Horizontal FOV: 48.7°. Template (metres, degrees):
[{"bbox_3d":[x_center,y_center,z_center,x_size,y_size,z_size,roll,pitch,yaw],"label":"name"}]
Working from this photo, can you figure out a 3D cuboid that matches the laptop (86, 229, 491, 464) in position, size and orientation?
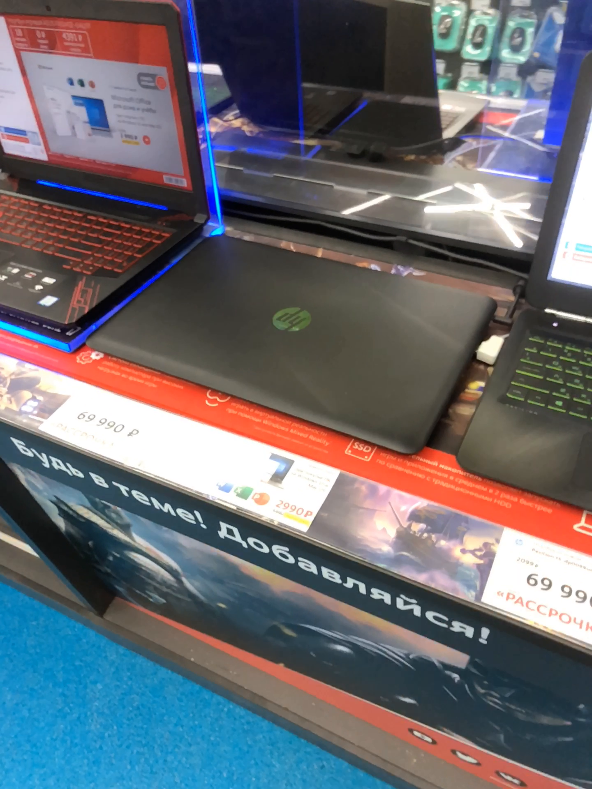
[{"bbox_3d":[-0.007,-0.076,0.695,0.366,0.012,0.233,19,49,22],"label":"laptop"}]
